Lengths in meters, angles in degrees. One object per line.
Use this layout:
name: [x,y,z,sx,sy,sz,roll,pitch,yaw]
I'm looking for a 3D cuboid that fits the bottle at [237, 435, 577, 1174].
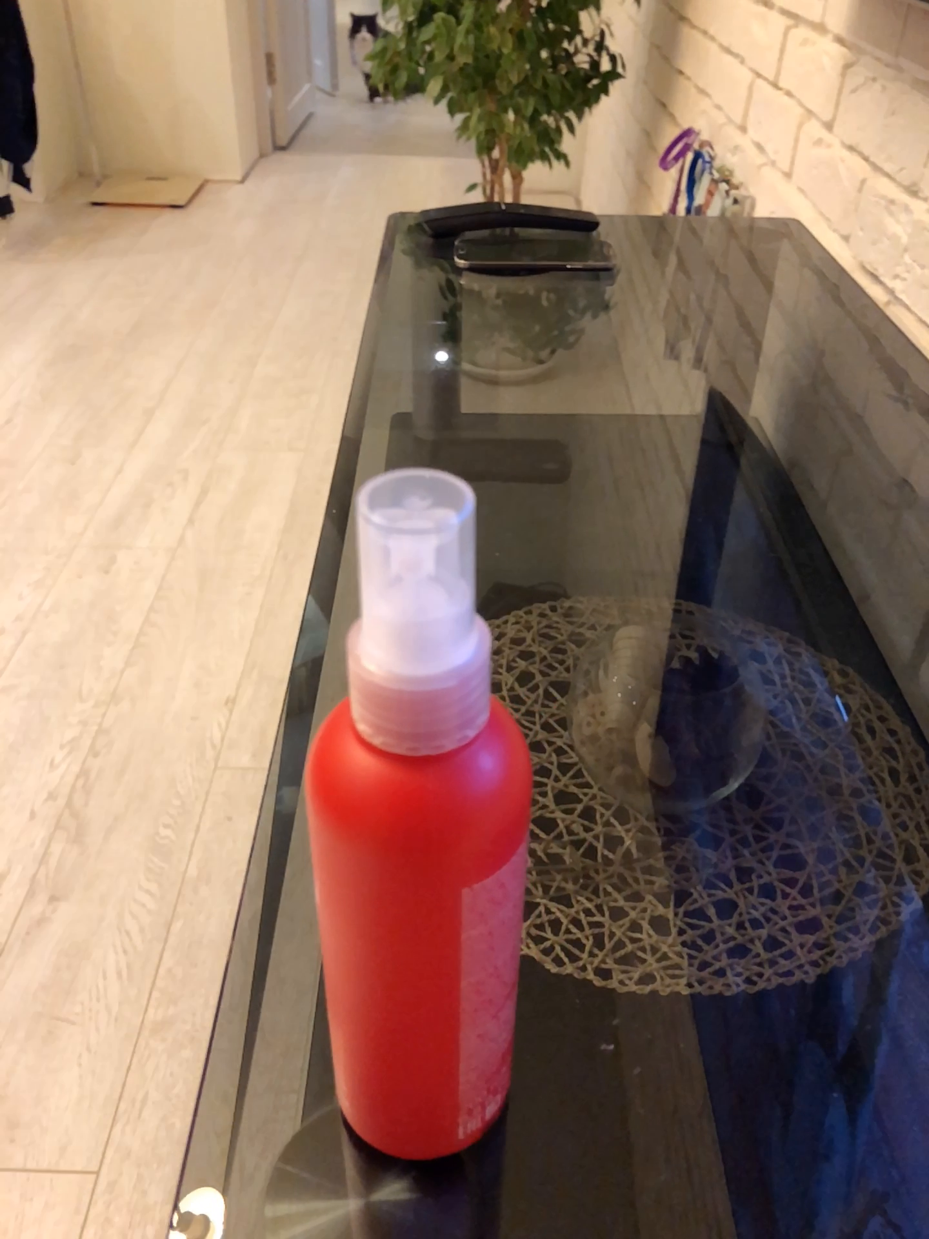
bottle: [-0.010,0.053,0.229,0.052,0.179,0.048,1,36,-1]
